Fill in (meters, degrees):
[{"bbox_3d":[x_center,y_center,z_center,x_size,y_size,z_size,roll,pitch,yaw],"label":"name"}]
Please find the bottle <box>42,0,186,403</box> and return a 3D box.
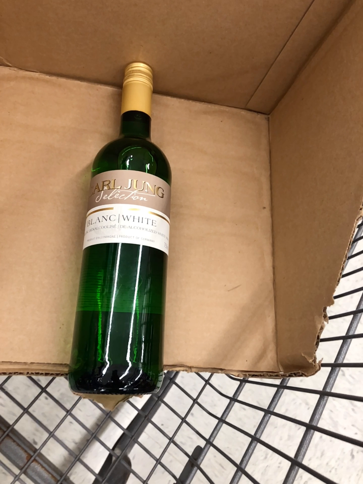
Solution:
[{"bbox_3d":[-0.044,-0.045,0.345,0.080,0.100,0.331,3,73,-4],"label":"bottle"}]
